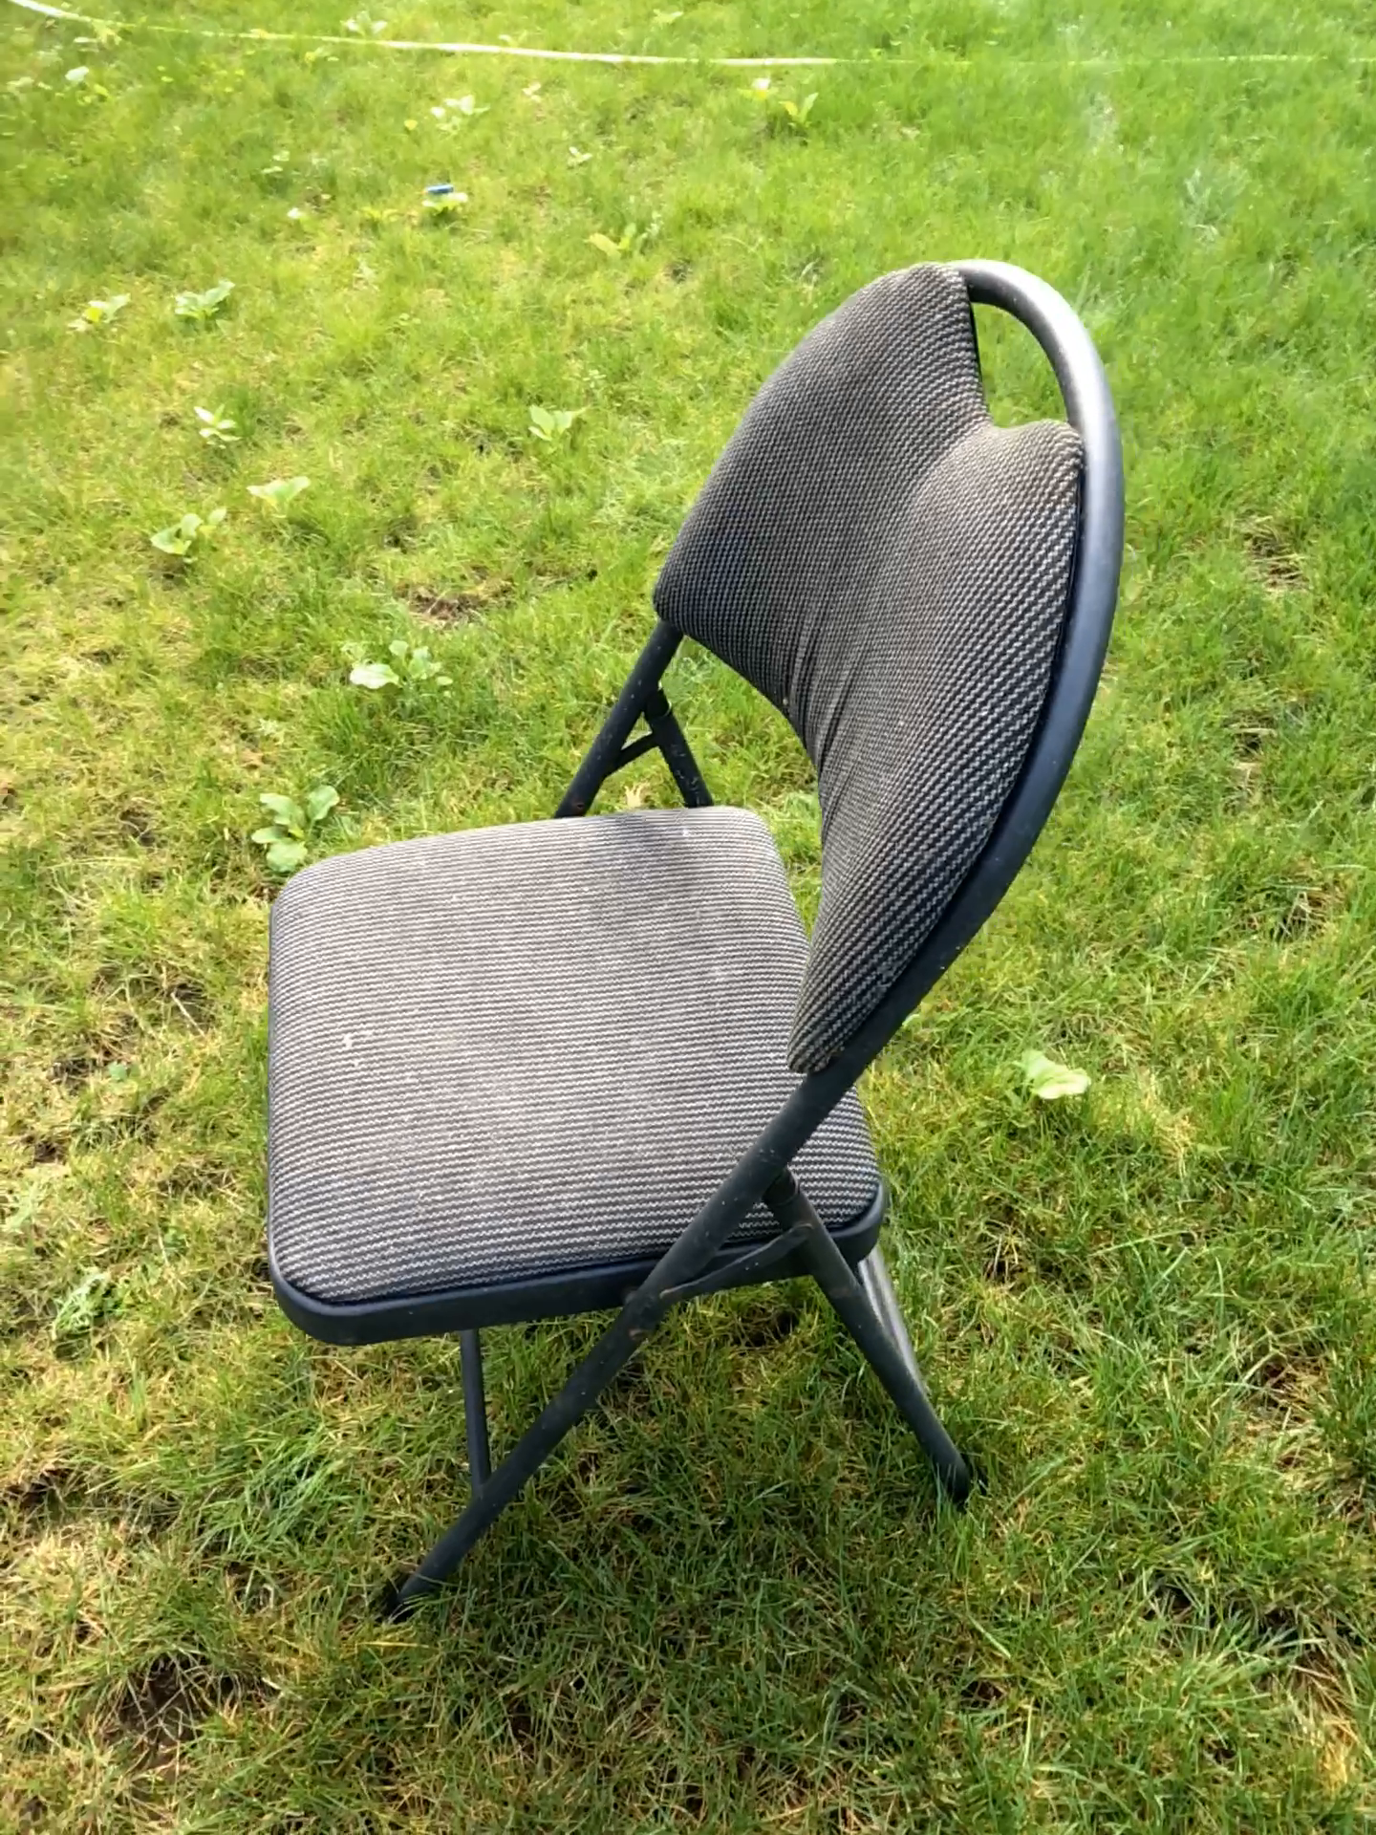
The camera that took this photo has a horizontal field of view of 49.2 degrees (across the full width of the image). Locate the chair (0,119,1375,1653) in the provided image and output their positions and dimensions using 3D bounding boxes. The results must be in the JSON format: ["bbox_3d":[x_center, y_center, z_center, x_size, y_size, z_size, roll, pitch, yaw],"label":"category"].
[{"bbox_3d":[-0.027,0.025,1.001,0.570,0.815,0.533,-8,47,-5],"label":"chair"}]
